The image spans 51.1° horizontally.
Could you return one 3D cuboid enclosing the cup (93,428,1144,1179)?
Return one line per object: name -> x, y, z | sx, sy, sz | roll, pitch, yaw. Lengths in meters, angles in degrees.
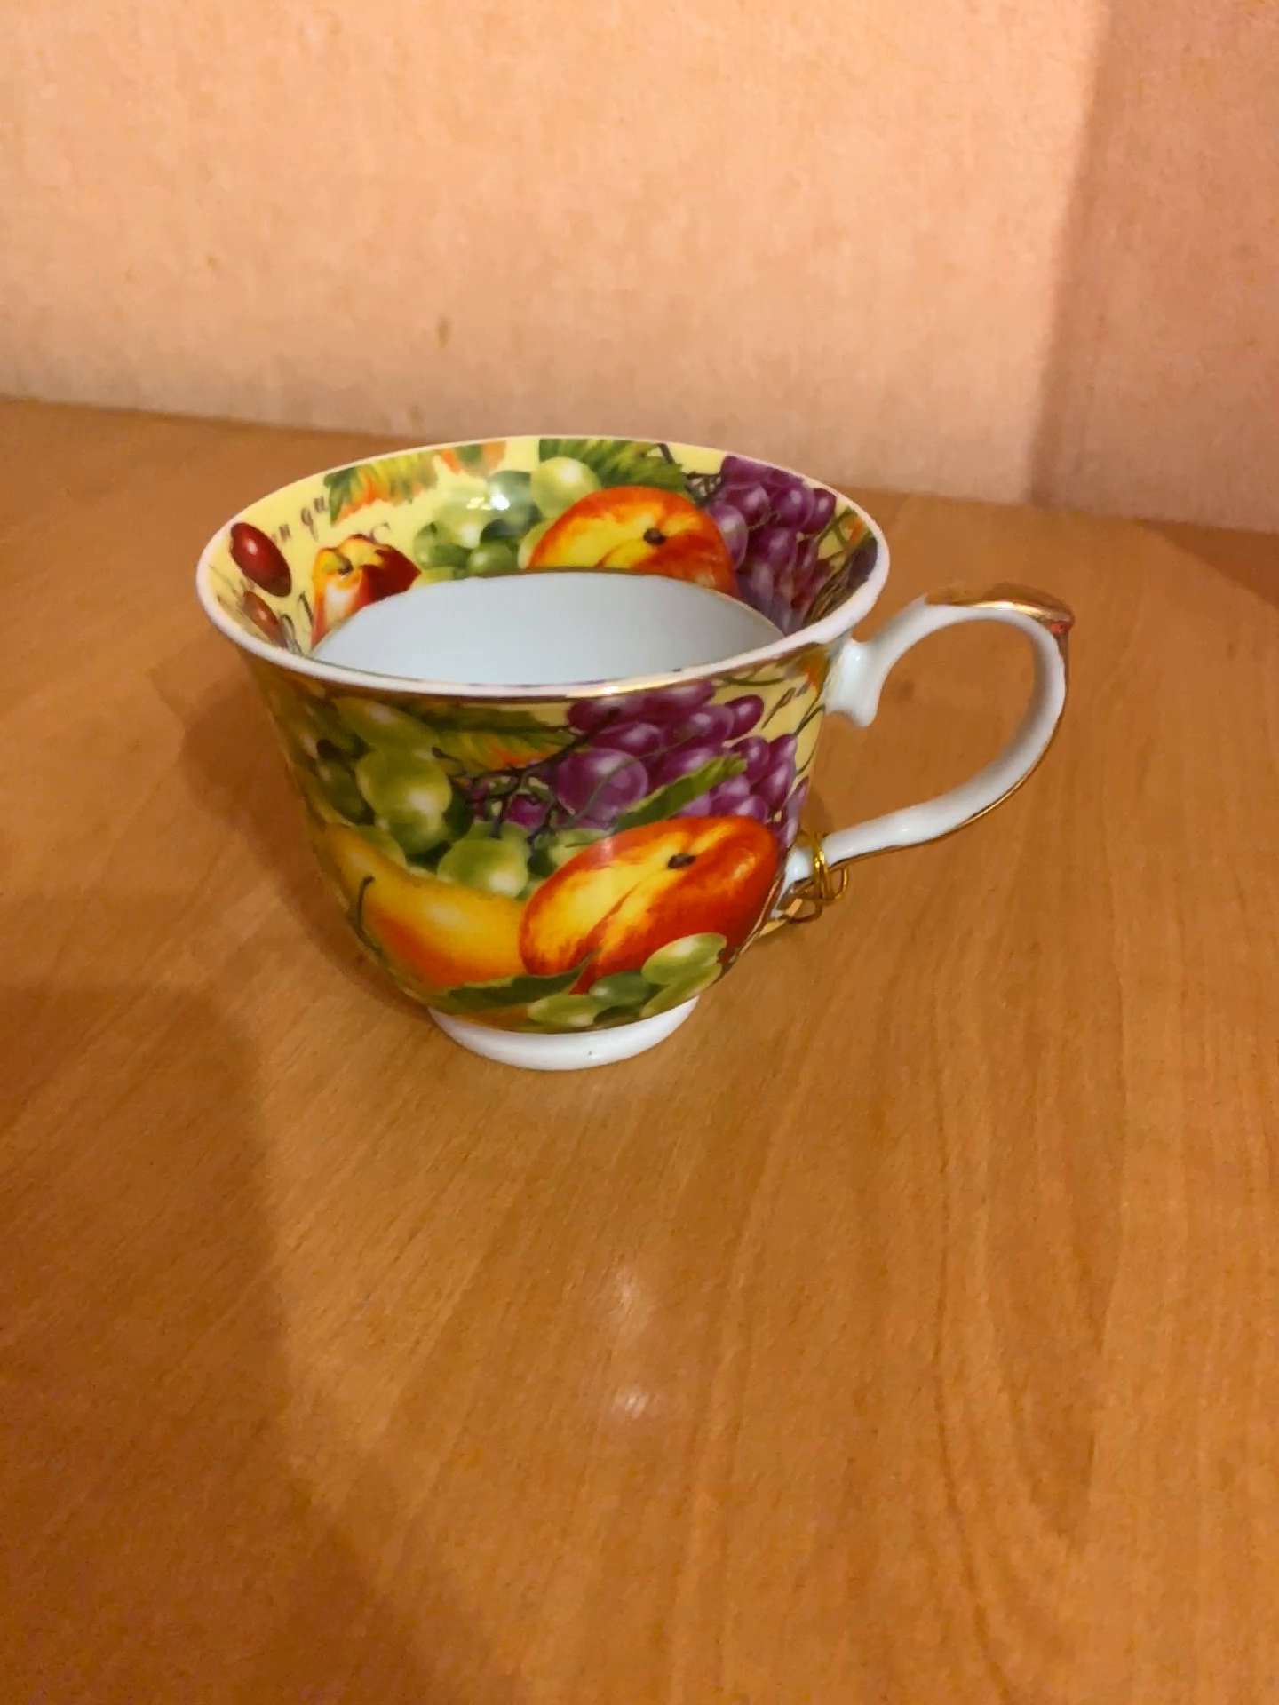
cup -> -0.002, -0.012, 0.190 | 0.106, 0.071, 0.086 | -1, 33, 0
